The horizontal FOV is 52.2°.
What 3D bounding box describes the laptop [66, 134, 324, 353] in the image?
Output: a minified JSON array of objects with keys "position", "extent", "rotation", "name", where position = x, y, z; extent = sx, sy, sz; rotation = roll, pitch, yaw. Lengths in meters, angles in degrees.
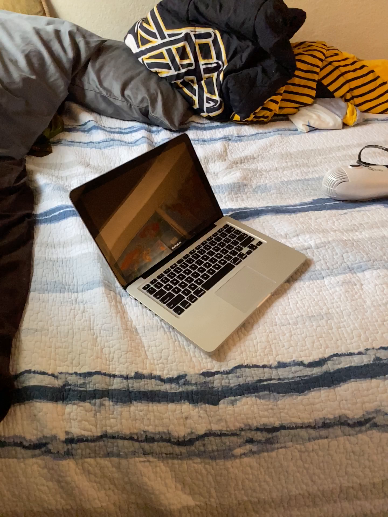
[{"position":[0.004,-0.061,0.782],"extent":[0.346,0.165,0.321],"rotation":[32,52,28],"name":"laptop"}]
